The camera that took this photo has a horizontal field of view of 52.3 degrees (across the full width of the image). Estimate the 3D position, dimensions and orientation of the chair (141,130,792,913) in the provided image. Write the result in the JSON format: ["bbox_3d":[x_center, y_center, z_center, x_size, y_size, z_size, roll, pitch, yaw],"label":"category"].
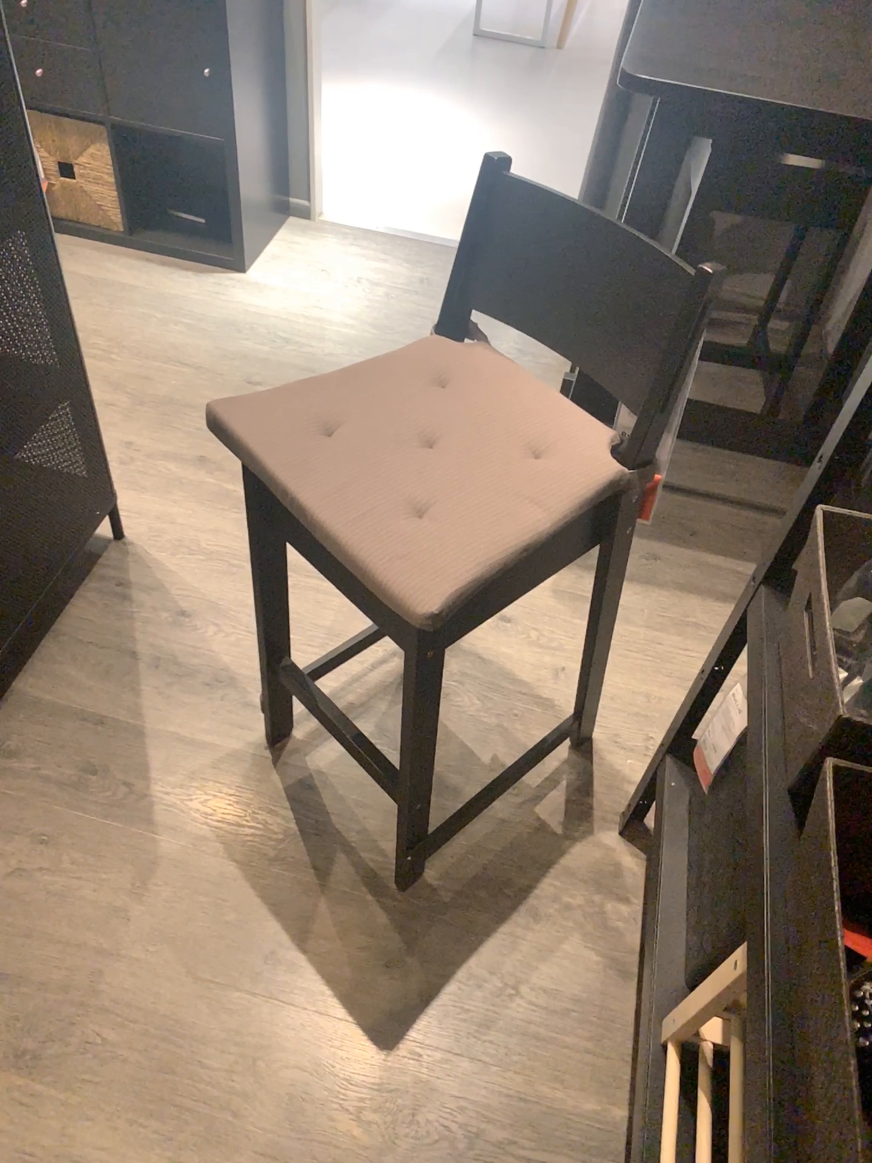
[{"bbox_3d":[0.003,-0.039,1.253,0.501,0.887,0.461,-33,59,-30],"label":"chair"}]
